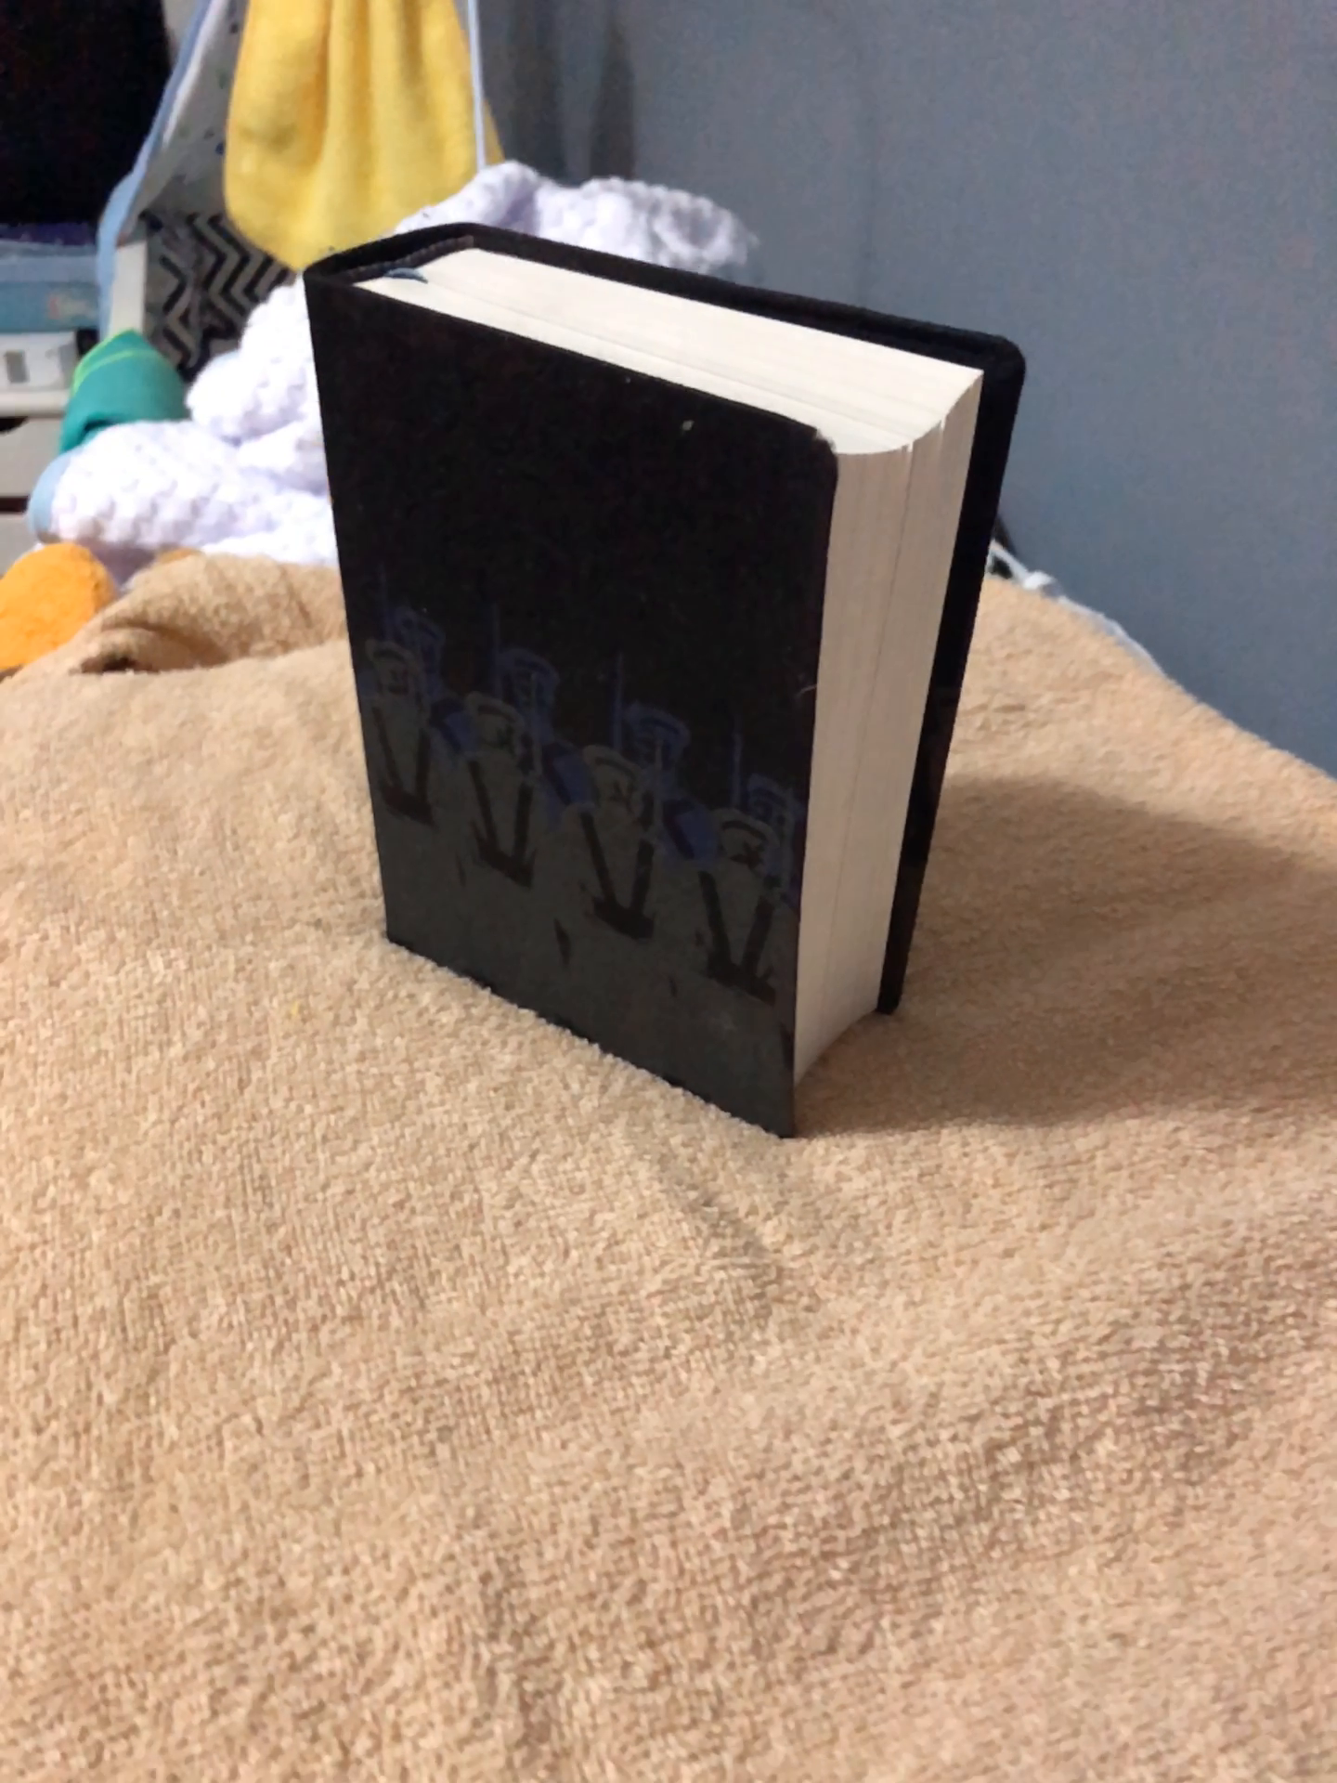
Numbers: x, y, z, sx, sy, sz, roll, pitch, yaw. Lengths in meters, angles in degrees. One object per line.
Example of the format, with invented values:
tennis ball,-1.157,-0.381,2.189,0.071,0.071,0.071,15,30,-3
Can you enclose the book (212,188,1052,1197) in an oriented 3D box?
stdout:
book,-0.012,-0.044,0.333,0.150,0.179,0.060,23,43,26
